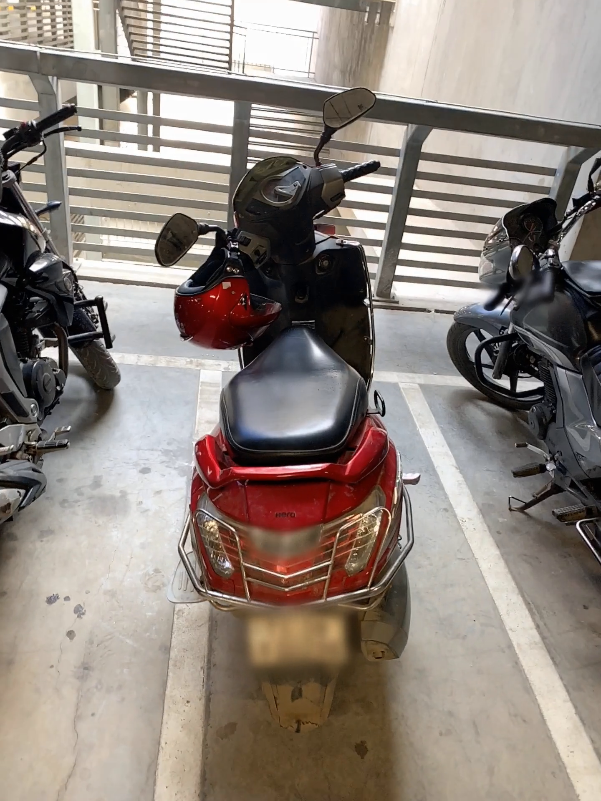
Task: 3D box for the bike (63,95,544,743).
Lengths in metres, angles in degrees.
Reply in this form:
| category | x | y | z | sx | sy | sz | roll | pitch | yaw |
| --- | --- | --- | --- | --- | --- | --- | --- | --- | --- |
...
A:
| category | x | y | z | sx | sy | sz | roll | pitch | yaw |
| --- | --- | --- | --- | --- | --- | --- | --- | --- | --- |
| bike | -0.143 | -0.159 | 1.978 | 0.725 | 1.164 | 1.858 | 3 | 33 | -9 |
